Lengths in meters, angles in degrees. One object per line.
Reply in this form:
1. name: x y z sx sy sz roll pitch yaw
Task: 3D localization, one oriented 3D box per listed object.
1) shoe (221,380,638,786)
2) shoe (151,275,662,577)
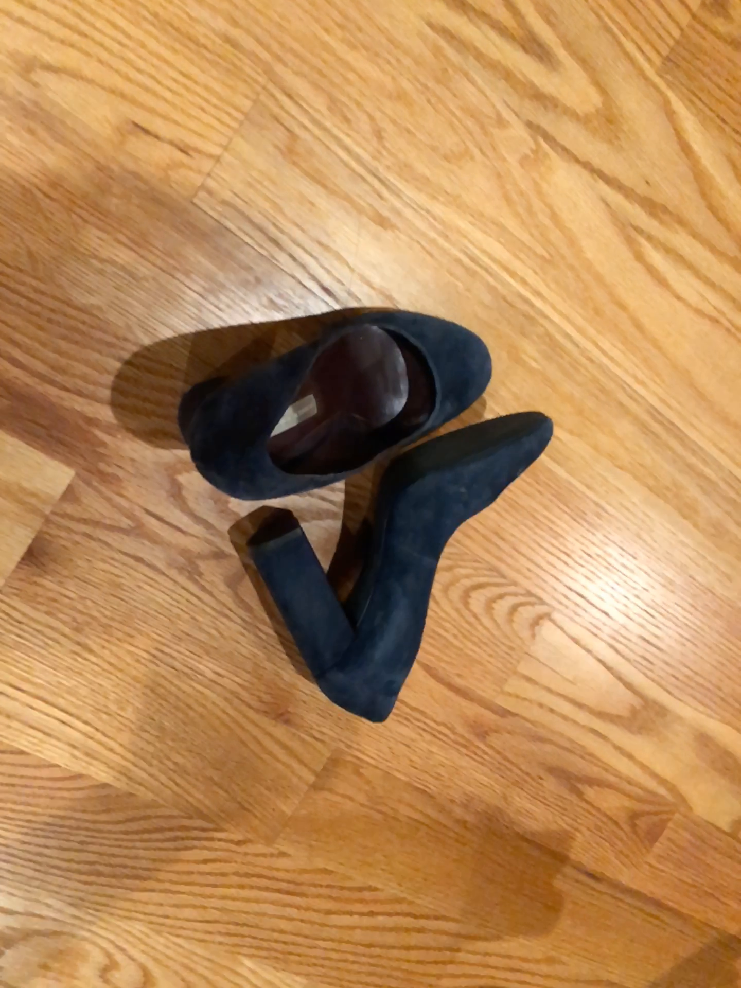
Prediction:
1. shoe: 0.040 0.049 0.509 0.204 0.080 0.152 -31 112 -11
2. shoe: 0.012 -0.052 0.440 0.226 0.146 0.080 -18 109 -16
